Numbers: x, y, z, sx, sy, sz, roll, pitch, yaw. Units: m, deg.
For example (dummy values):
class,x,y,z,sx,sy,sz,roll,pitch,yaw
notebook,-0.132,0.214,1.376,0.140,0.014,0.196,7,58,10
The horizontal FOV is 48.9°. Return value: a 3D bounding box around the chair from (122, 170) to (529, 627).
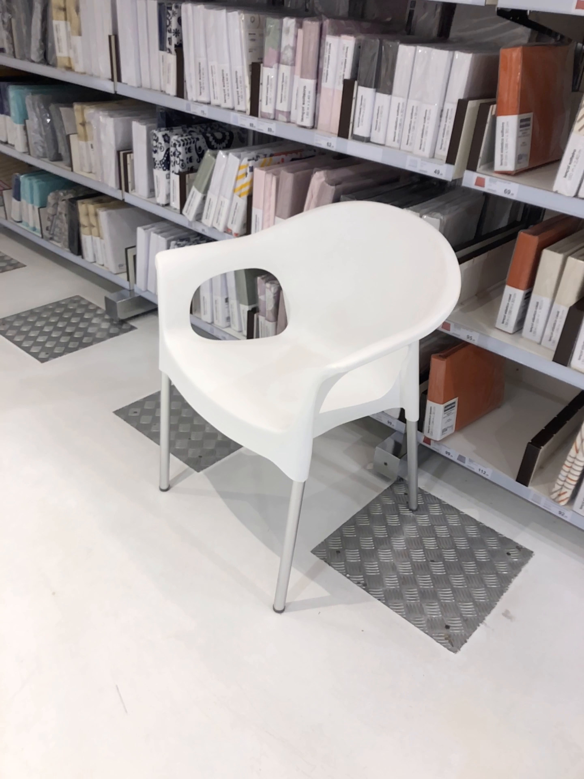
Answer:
class,x,y,z,sx,sy,sz,roll,pitch,yaw
chair,0.035,-0.036,1.452,0.552,0.704,0.592,-21,40,-35
